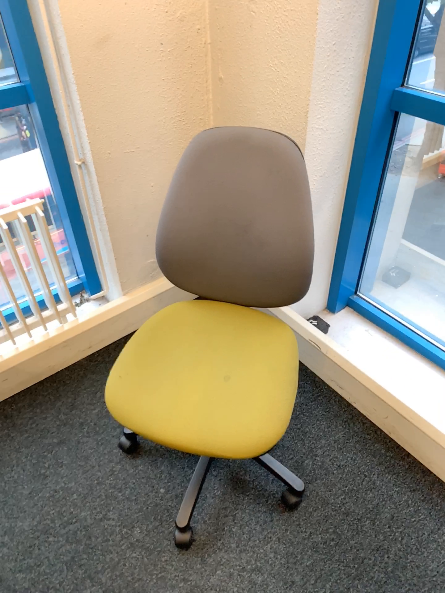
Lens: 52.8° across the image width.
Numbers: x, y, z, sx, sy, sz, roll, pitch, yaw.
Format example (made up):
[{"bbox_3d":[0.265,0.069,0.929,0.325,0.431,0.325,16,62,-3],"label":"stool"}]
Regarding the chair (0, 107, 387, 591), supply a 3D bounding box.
[{"bbox_3d":[-0.043,0.111,1.131,0.693,0.877,0.683,10,42,13],"label":"chair"}]
